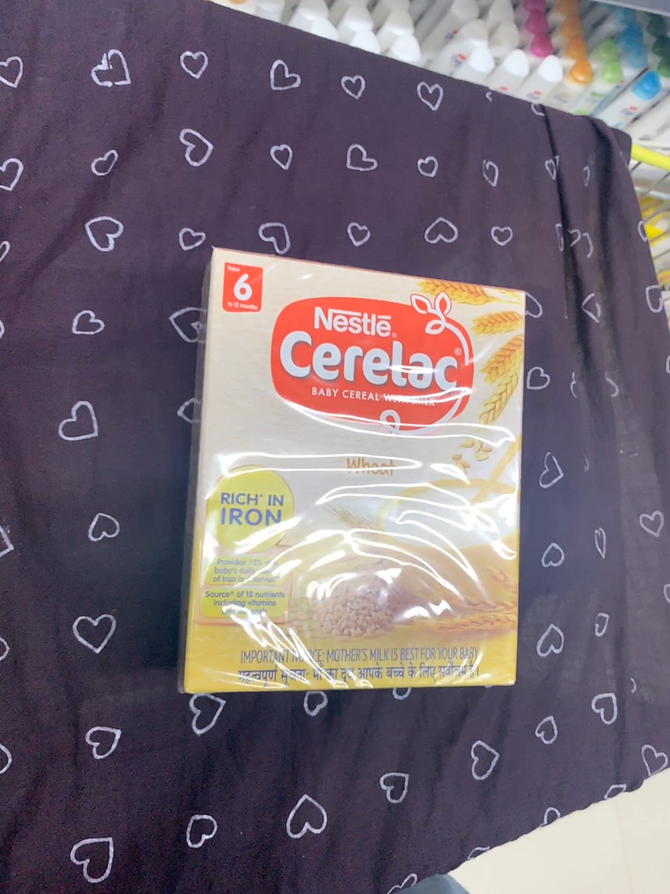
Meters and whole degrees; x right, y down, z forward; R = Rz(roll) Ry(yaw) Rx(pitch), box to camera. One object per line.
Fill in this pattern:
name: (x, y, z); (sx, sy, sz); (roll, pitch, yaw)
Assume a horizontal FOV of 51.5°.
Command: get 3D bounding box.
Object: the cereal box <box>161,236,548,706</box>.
cereal box: (0.009, 0.012, 0.274); (0.140, 0.040, 0.160); (4, 85, -16)
